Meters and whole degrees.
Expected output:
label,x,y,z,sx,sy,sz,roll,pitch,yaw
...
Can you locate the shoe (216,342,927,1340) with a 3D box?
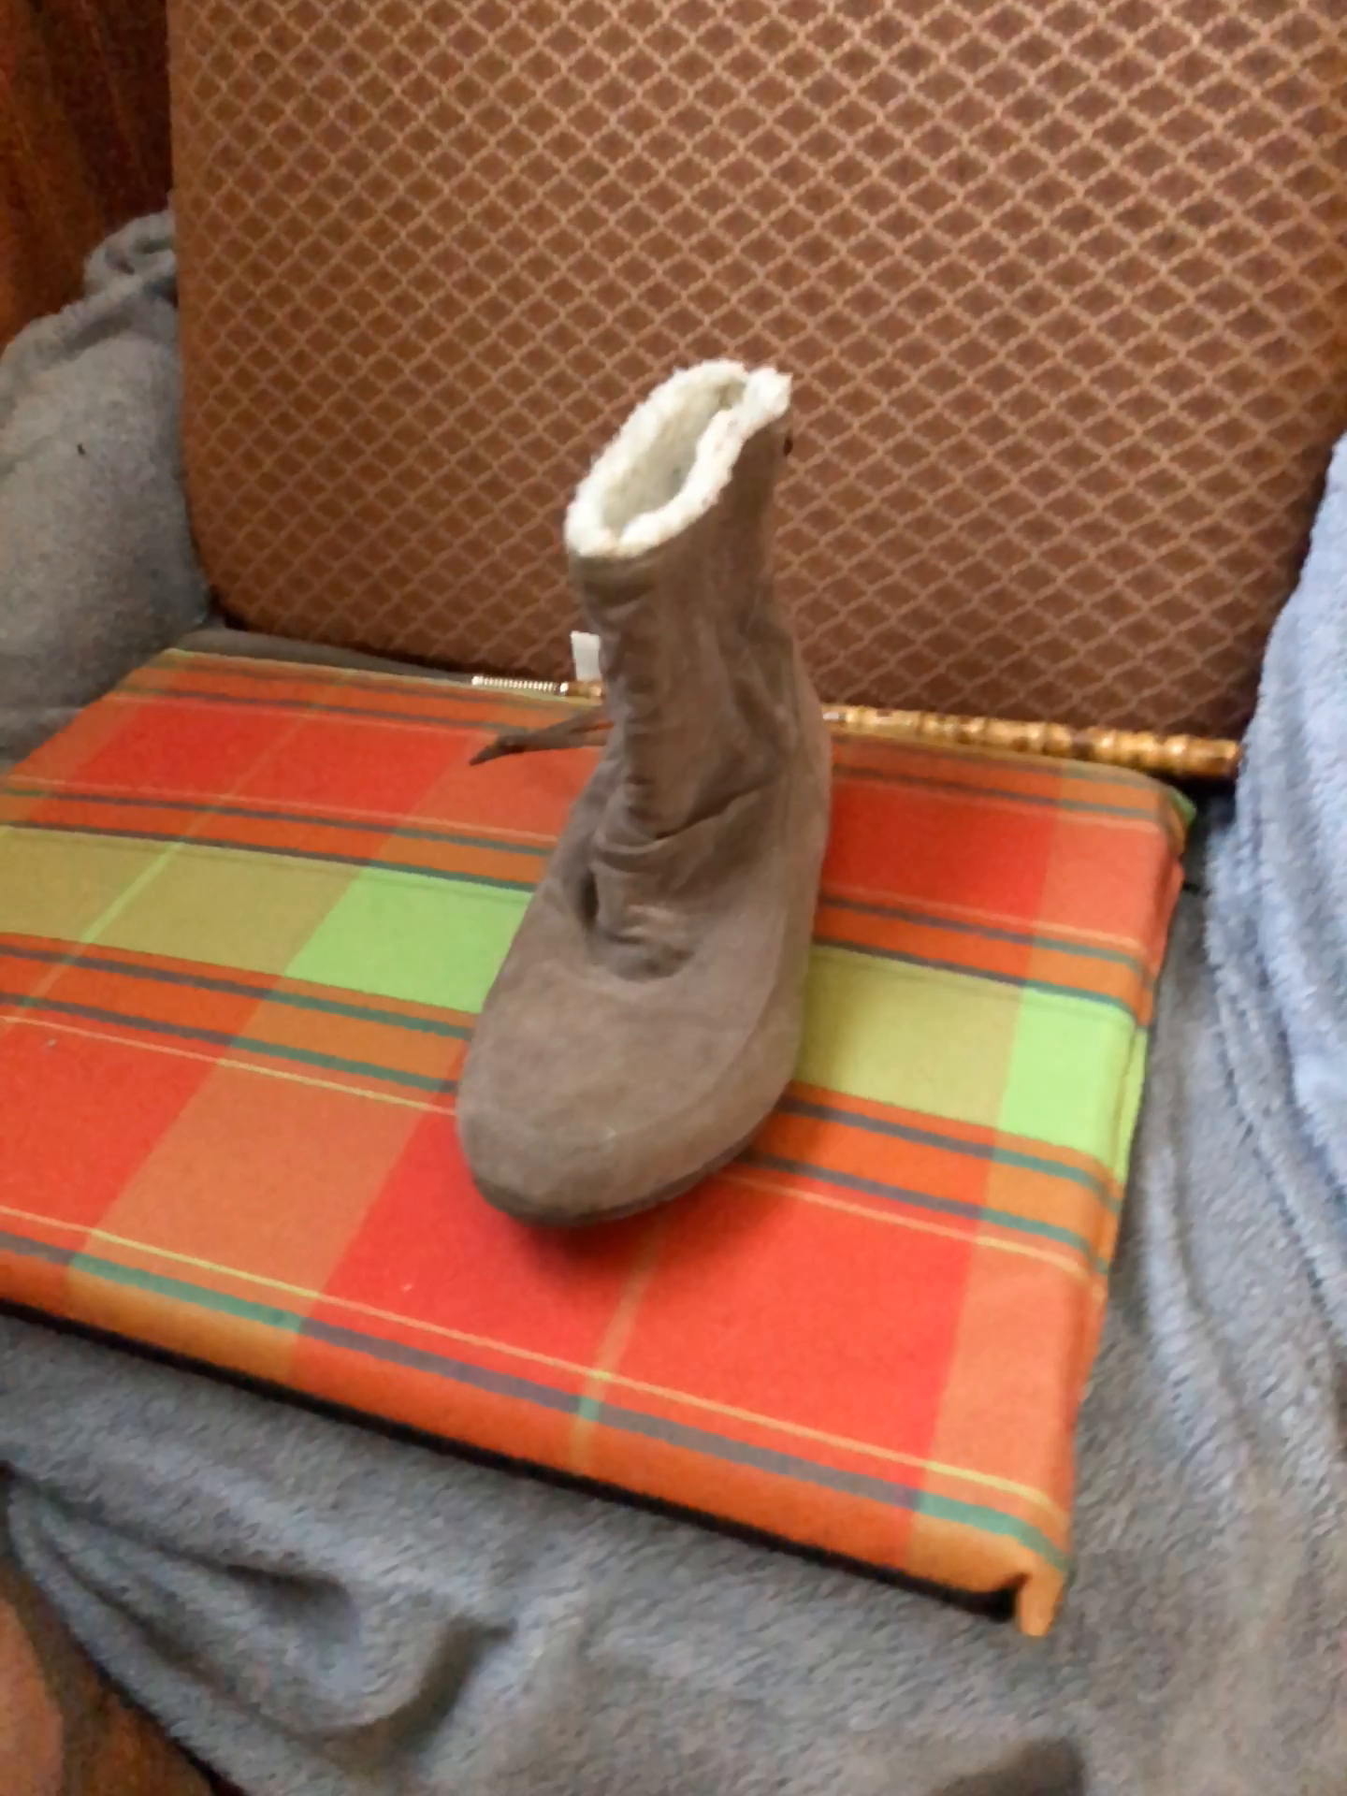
label,x,y,z,sx,sy,sz,roll,pitch,yaw
shoe,0.000,-0.036,0.438,0.100,0.159,0.262,6,42,18
